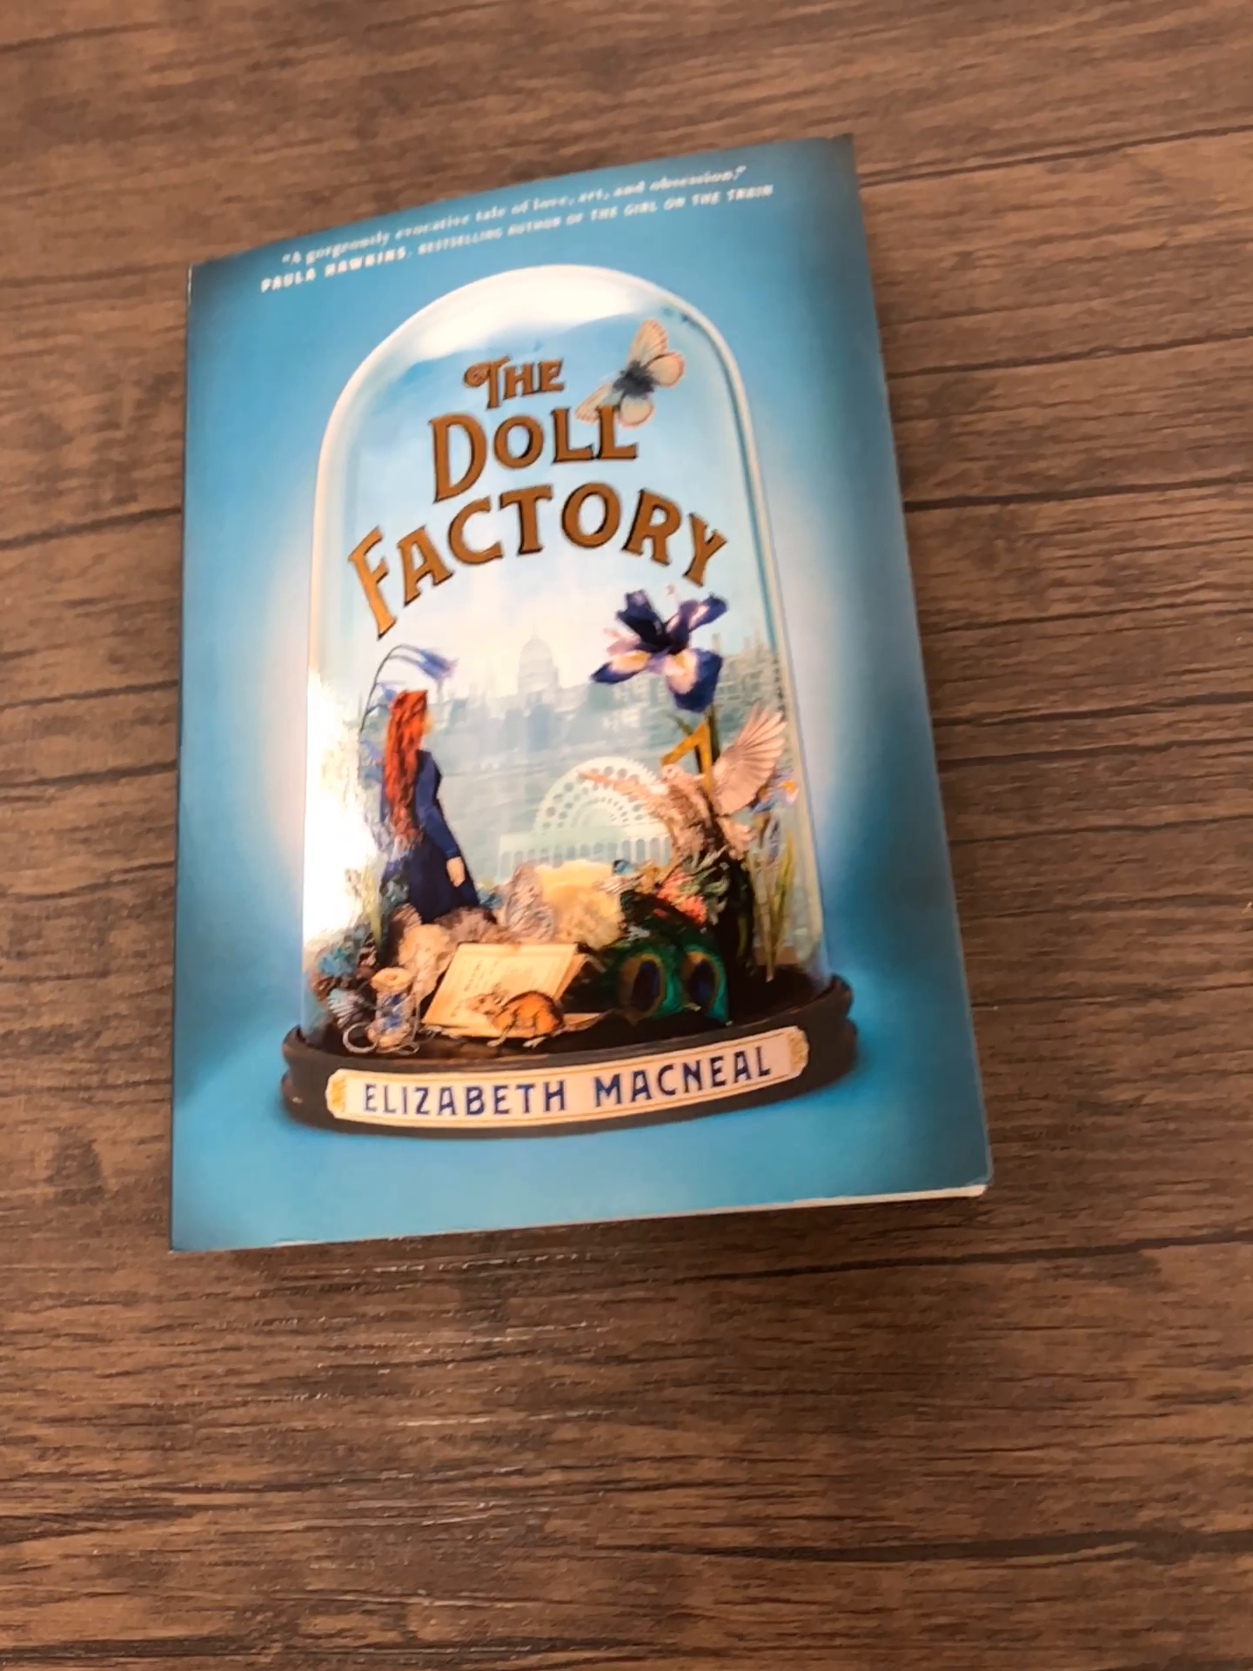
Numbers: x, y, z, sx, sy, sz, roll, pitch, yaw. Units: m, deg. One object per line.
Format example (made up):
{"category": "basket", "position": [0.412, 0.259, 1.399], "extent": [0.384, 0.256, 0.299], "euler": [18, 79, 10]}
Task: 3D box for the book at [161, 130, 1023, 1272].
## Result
{"category": "book", "position": [-0.015, -0.032, 0.306], "extent": [0.160, 0.040, 0.230], "euler": [-6, 74, 6]}
